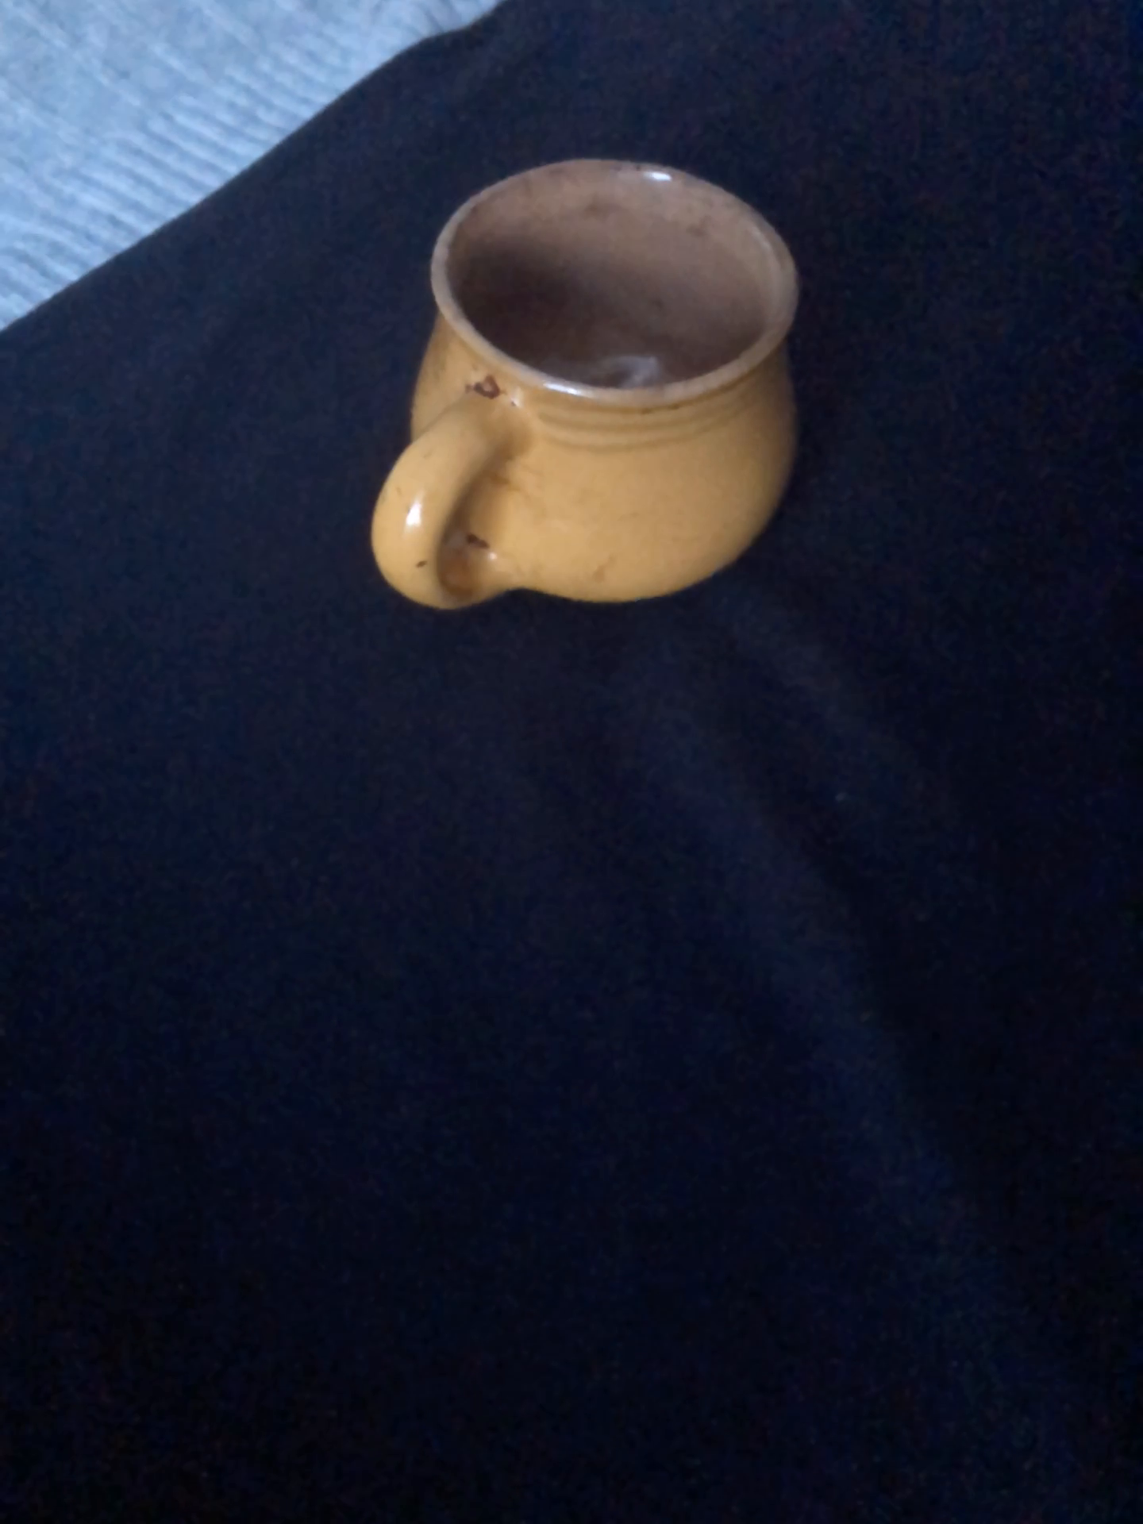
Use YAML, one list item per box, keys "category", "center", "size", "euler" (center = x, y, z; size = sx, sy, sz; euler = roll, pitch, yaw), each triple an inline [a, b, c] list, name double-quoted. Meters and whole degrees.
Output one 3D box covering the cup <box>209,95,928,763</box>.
- category: "cup"
  center: [0.001, -0.075, 0.275]
  size: [0.082, 0.058, 0.119]
  euler: [38, 63, 19]
